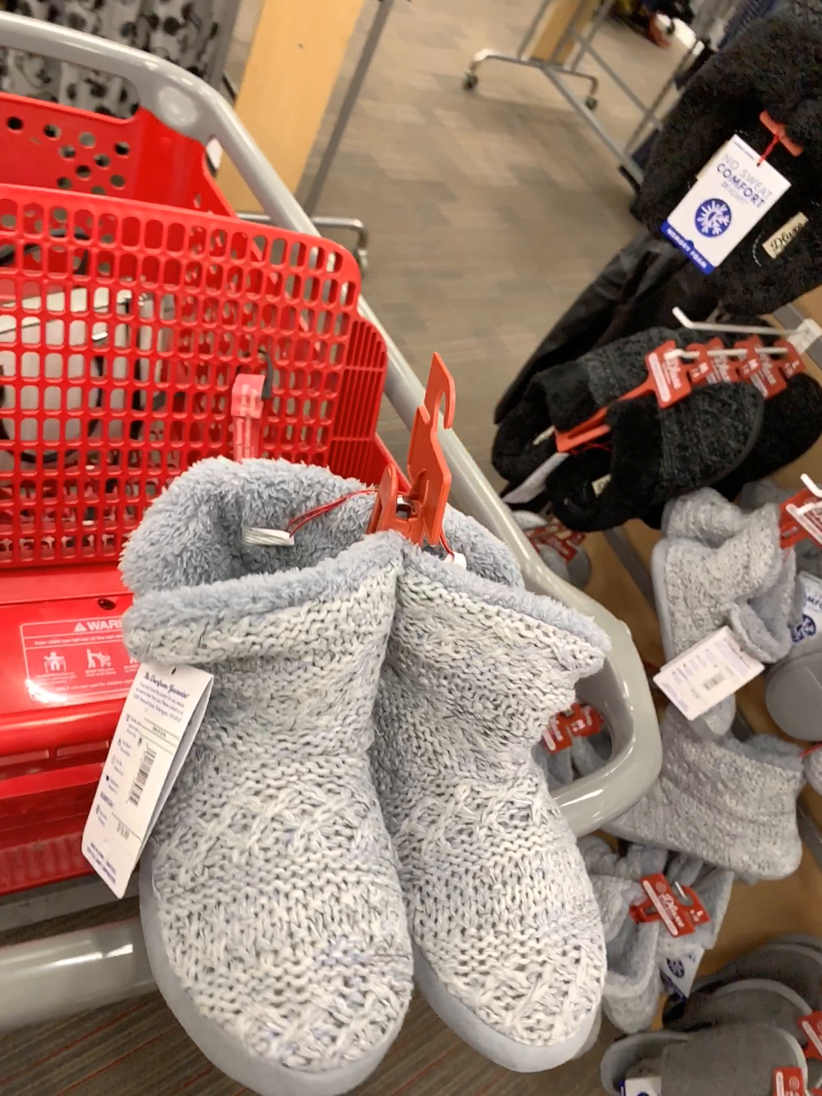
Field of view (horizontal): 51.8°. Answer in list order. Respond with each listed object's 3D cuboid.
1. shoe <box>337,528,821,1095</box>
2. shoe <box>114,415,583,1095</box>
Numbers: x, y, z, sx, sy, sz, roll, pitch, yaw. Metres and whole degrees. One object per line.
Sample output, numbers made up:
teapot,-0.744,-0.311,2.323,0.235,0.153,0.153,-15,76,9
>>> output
shoe,0.061,0.119,0.404,0.110,0.120,0.230,2,50,-28
shoe,-0.053,0.085,0.371,0.110,0.139,0.250,2,50,-28
